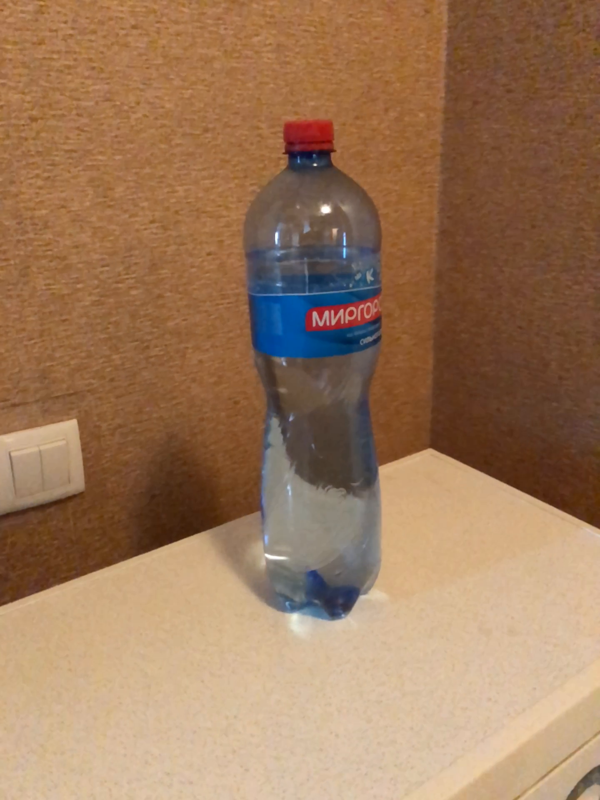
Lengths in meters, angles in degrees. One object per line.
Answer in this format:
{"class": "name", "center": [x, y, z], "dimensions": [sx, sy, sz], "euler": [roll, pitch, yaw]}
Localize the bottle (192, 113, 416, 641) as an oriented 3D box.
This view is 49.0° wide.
{"class": "bottle", "center": [0.010, -0.014, 0.441], "dimensions": [0.100, 0.318, 0.100], "euler": [-1, 20, 0]}
